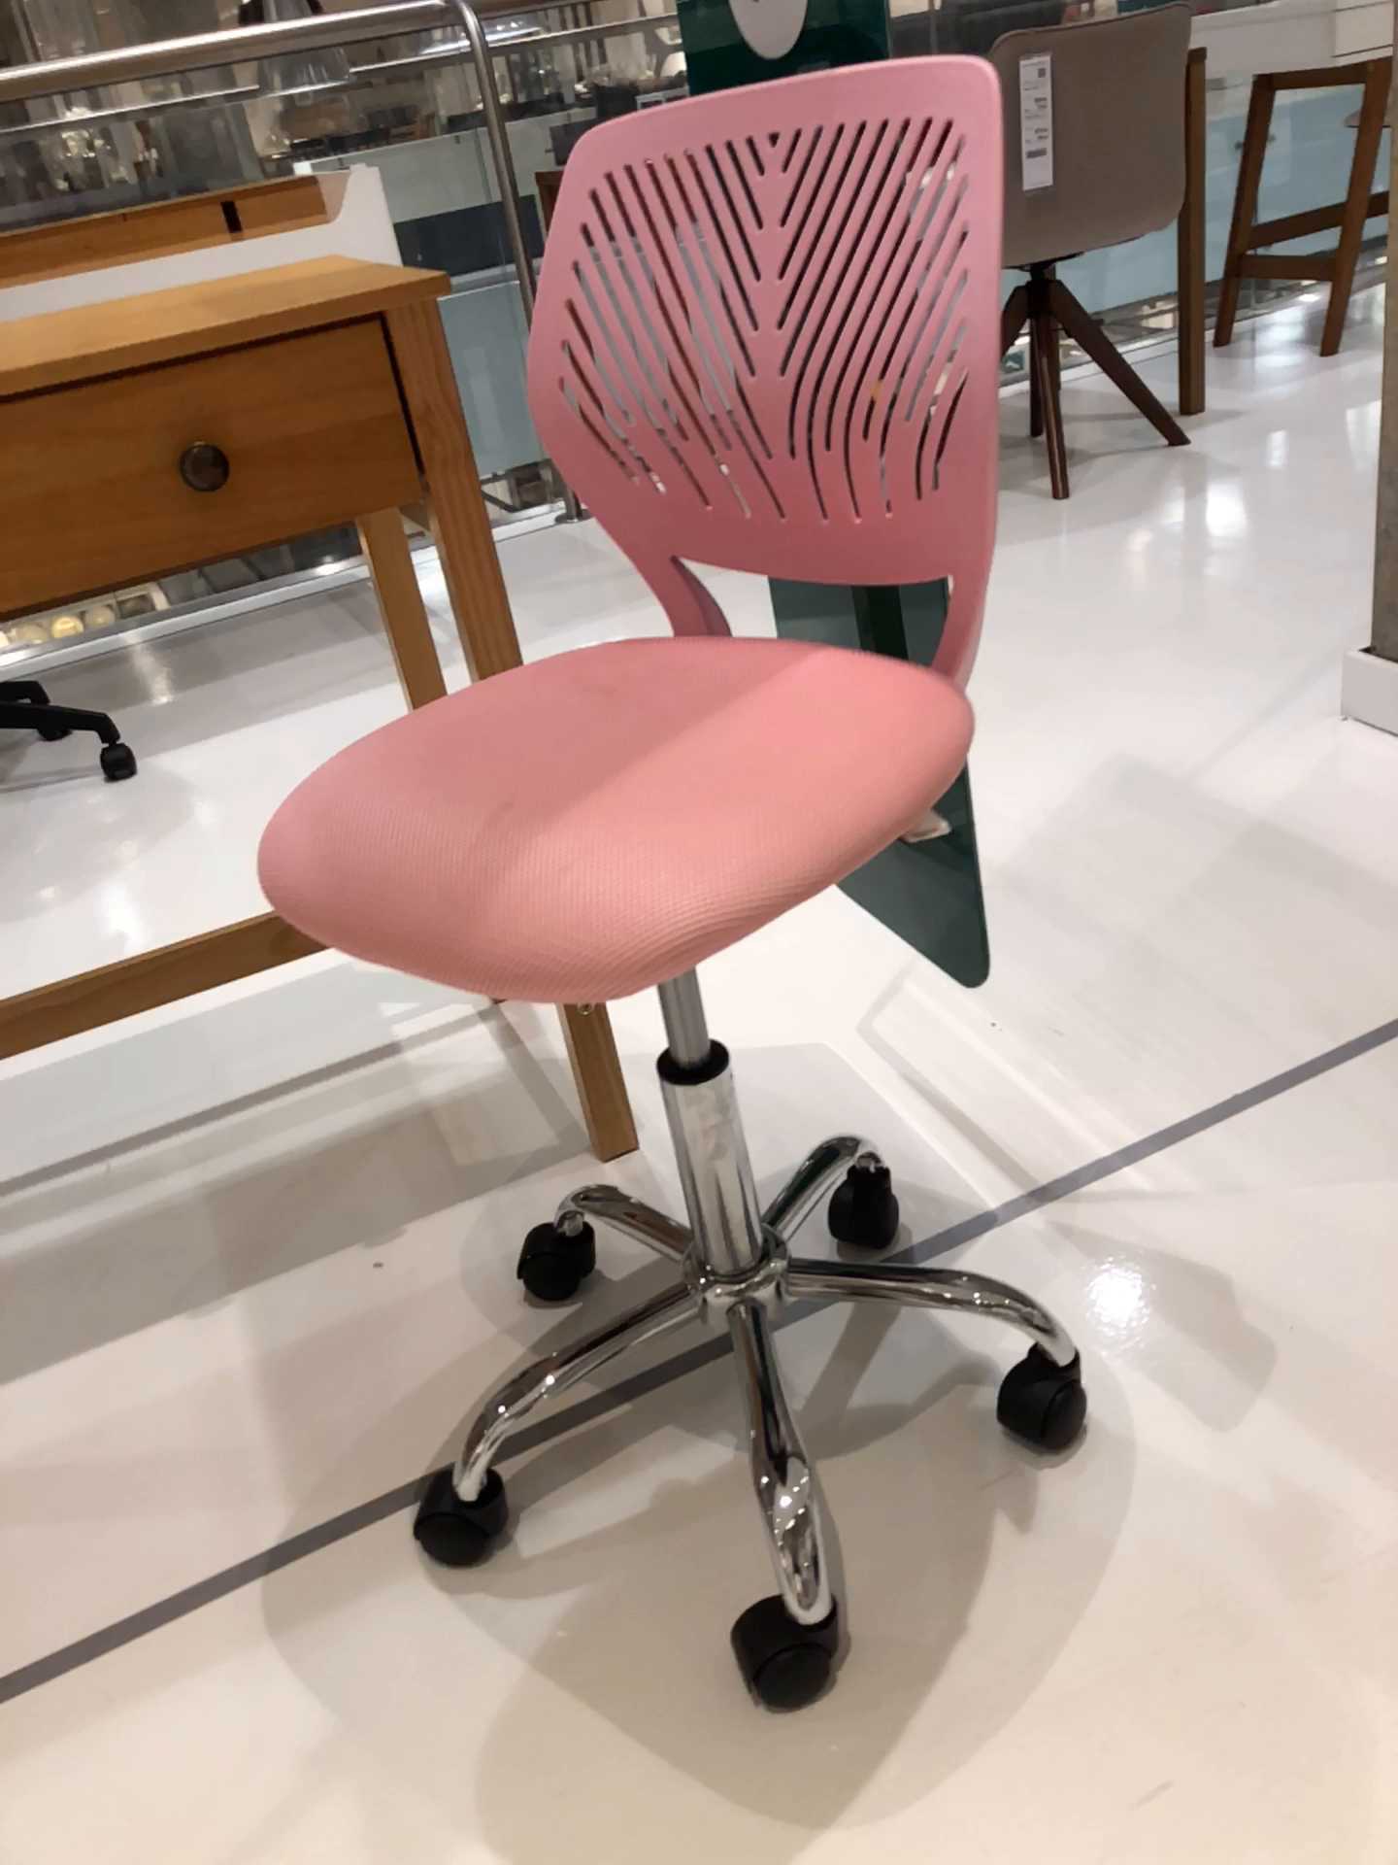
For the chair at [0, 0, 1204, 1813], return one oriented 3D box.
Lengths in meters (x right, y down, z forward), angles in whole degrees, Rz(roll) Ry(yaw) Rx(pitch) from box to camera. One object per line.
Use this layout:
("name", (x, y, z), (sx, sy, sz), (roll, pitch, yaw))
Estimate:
("chair", (-0.025, -0.054, 0.939), (0.501, 0.834, 0.523), (9, 34, 33))
